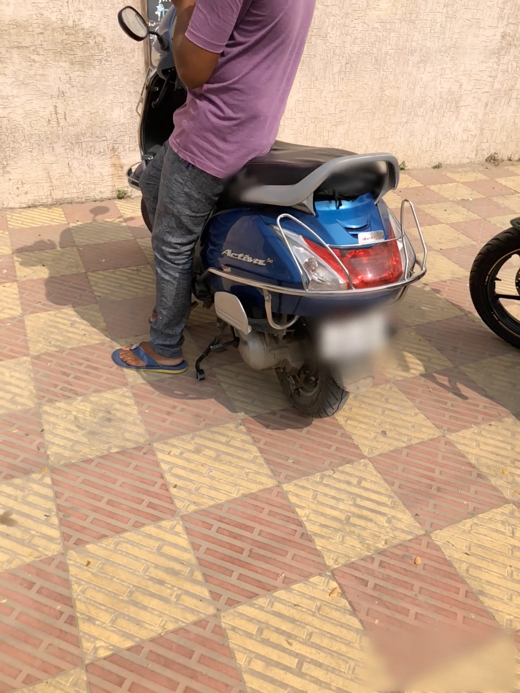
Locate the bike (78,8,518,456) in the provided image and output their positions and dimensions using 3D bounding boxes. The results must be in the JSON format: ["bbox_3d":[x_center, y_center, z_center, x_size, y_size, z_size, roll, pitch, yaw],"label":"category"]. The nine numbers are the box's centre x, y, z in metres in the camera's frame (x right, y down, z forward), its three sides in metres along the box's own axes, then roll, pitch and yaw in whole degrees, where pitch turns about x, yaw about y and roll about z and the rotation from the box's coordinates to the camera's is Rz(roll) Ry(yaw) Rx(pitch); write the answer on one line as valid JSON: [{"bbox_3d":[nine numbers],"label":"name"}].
[{"bbox_3d":[-0.087,-0.607,2.132,0.624,1.037,1.705,-15,37,-25],"label":"bike"}]
